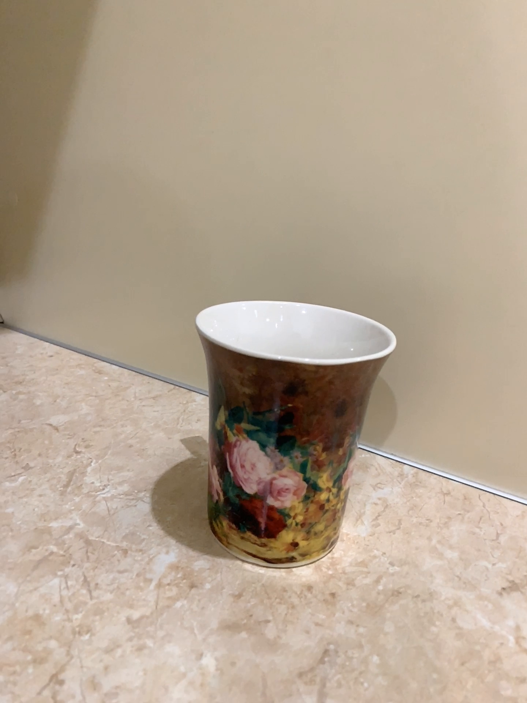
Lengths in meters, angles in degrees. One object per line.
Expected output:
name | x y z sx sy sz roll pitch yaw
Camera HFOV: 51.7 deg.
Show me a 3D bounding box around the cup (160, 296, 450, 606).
cup | 0.008 0.034 0.257 0.094 0.096 0.102 5 19 -2
